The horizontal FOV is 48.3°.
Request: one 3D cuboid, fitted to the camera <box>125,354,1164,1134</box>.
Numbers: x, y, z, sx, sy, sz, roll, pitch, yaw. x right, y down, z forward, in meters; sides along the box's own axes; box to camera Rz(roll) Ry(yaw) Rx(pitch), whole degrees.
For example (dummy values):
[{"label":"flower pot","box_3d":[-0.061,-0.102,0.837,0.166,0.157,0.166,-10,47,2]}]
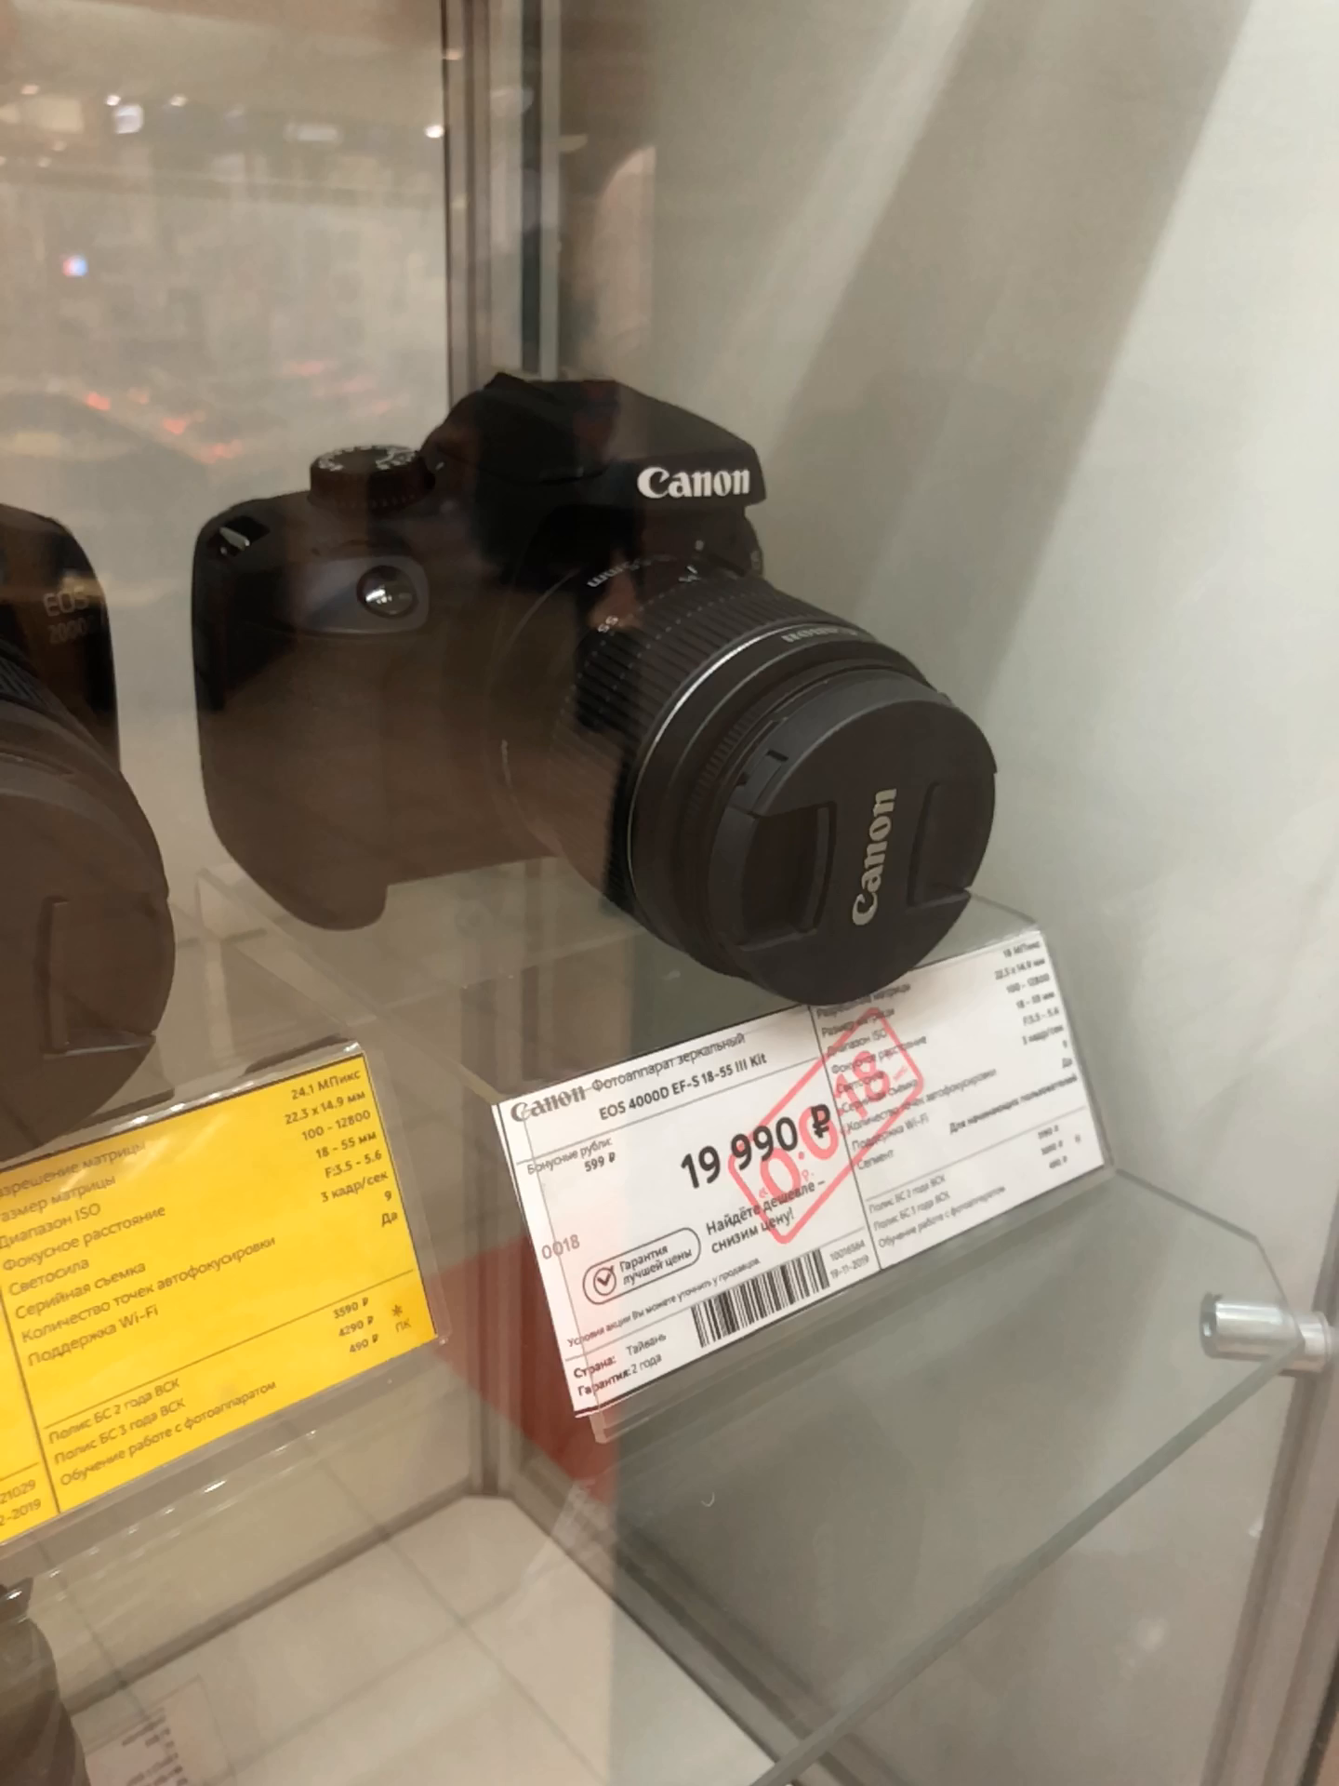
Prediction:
[{"label":"camera","box_3d":[-0.012,-0.047,0.289,0.125,0.100,0.147,-15,27,-36]}]
